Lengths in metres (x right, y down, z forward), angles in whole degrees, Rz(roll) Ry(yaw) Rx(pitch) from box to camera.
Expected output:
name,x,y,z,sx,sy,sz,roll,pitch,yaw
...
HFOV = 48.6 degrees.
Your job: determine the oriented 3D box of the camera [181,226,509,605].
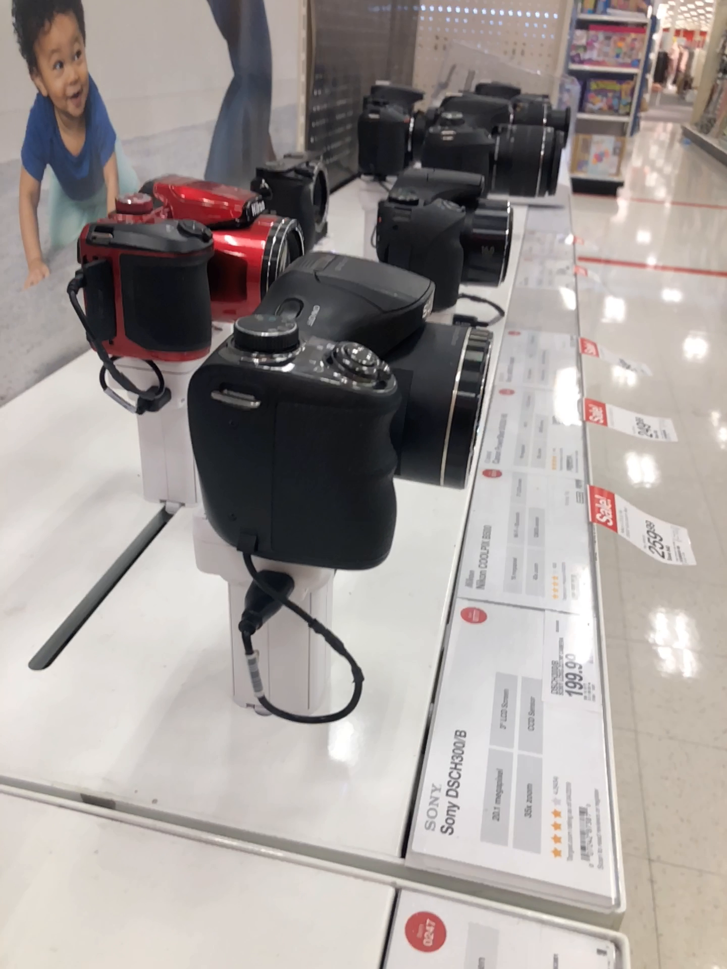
name,x,y,z,sx,sy,sz,roll,pitch,yaw
camera,0.001,-0.036,0.308,0.090,0.090,0.131,9,29,9
